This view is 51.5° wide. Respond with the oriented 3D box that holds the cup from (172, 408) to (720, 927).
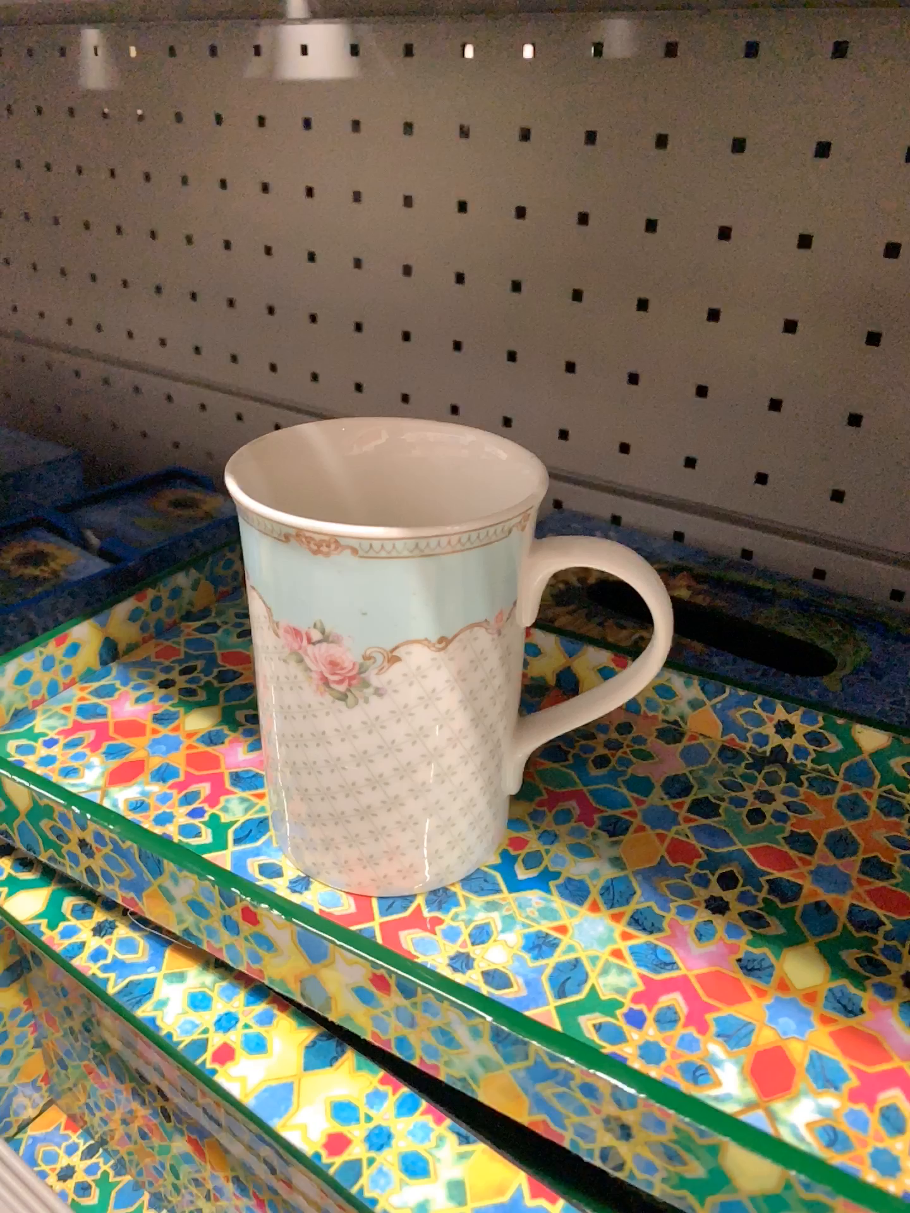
[{"bbox_3d":[0.000,0.011,0.246,0.110,0.100,0.080,4,28,5],"label":"cup"}]
